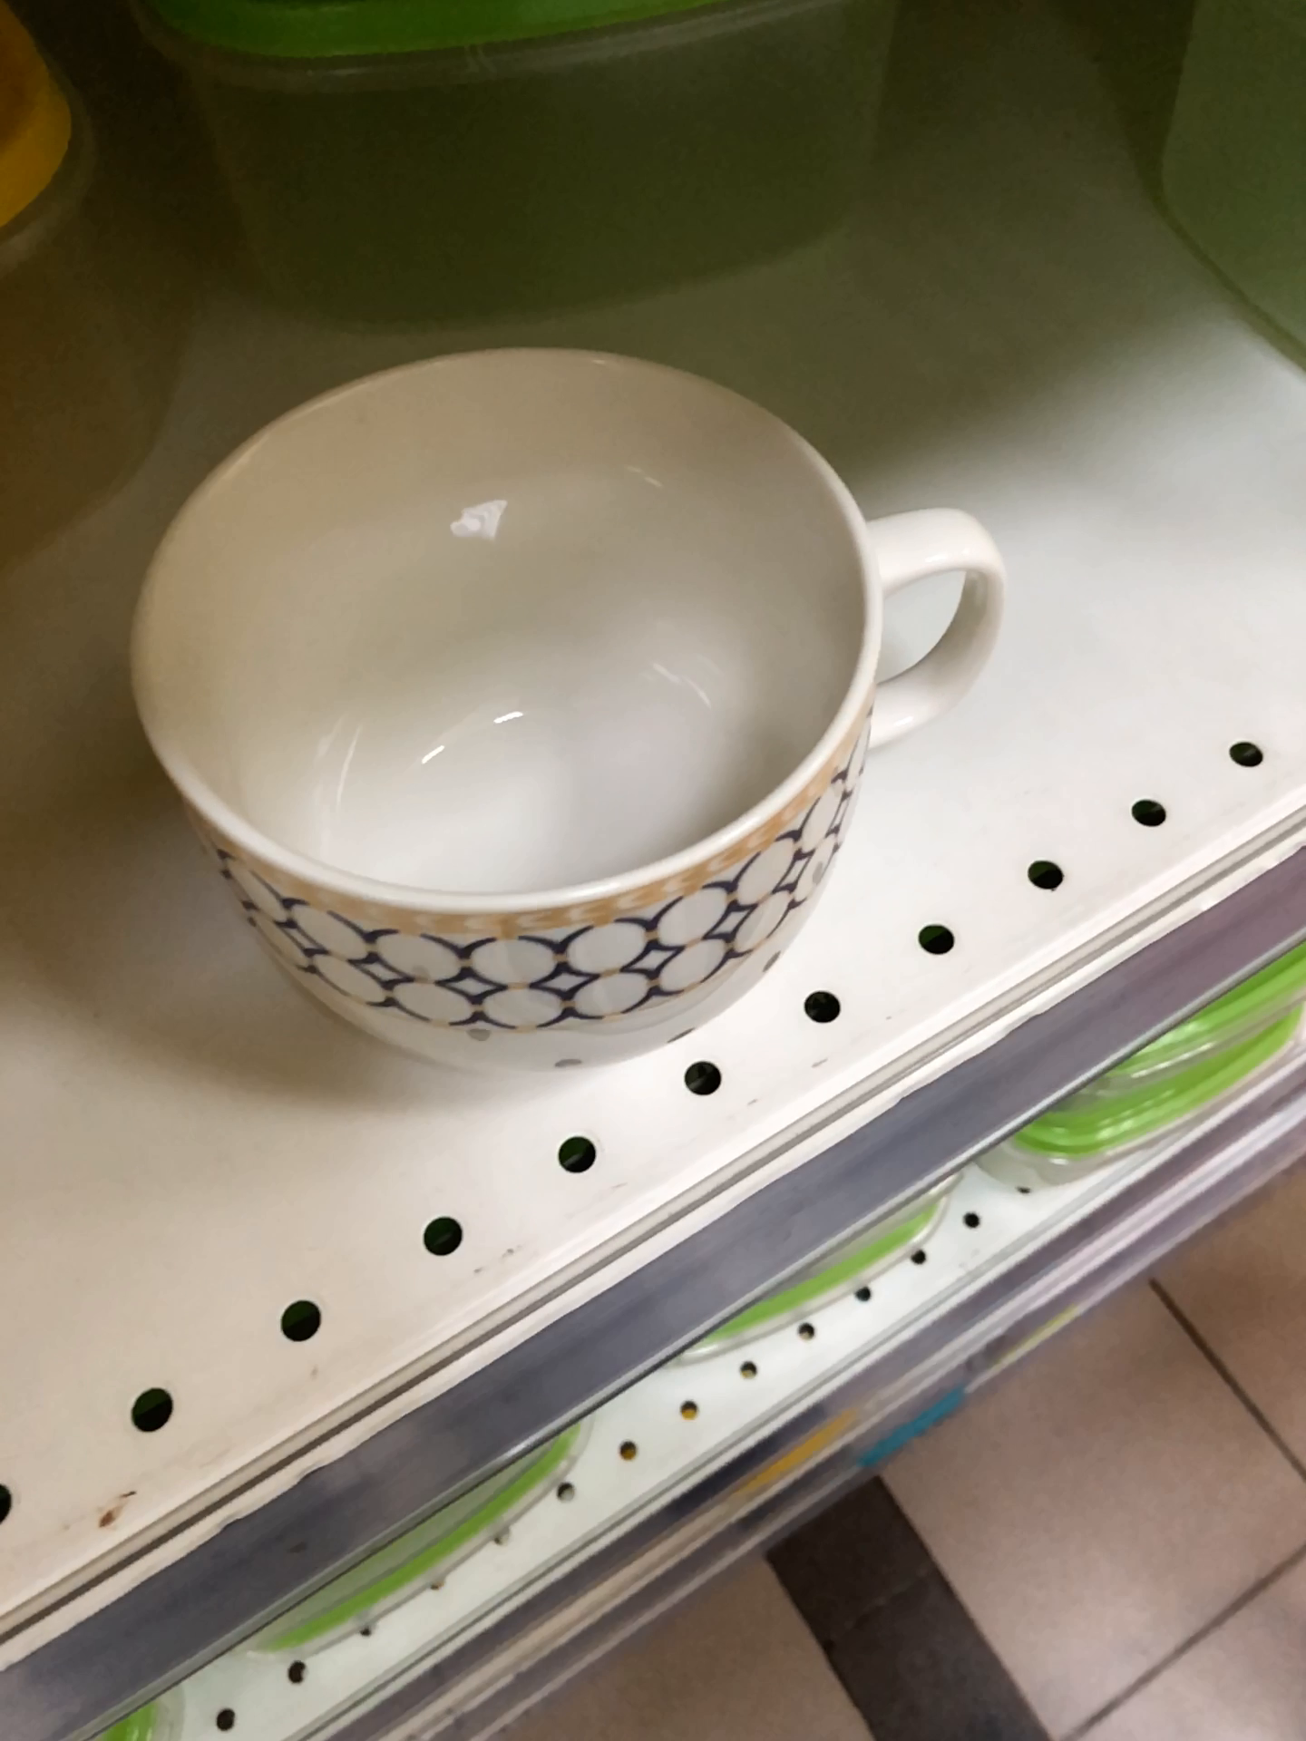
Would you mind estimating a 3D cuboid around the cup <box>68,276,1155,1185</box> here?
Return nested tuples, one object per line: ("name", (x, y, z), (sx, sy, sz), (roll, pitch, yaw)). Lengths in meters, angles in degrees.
("cup", (-0.013, -0.024, 0.230), (0.134, 0.062, 0.105), (-11, 60, -6))
